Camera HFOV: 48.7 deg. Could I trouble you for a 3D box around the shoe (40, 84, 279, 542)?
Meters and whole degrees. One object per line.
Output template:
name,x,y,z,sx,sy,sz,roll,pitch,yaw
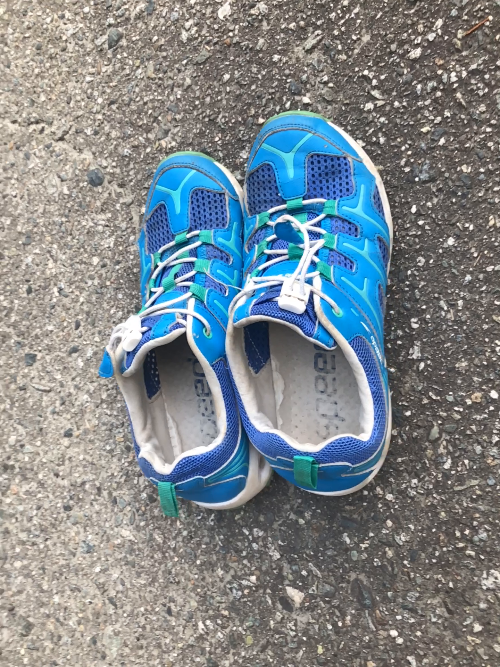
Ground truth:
shoe,-0.058,-0.008,0.371,0.100,0.090,0.260,-8,85,24

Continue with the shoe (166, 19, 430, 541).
shoe,0.030,-0.022,0.321,0.100,0.090,0.250,-8,85,24
